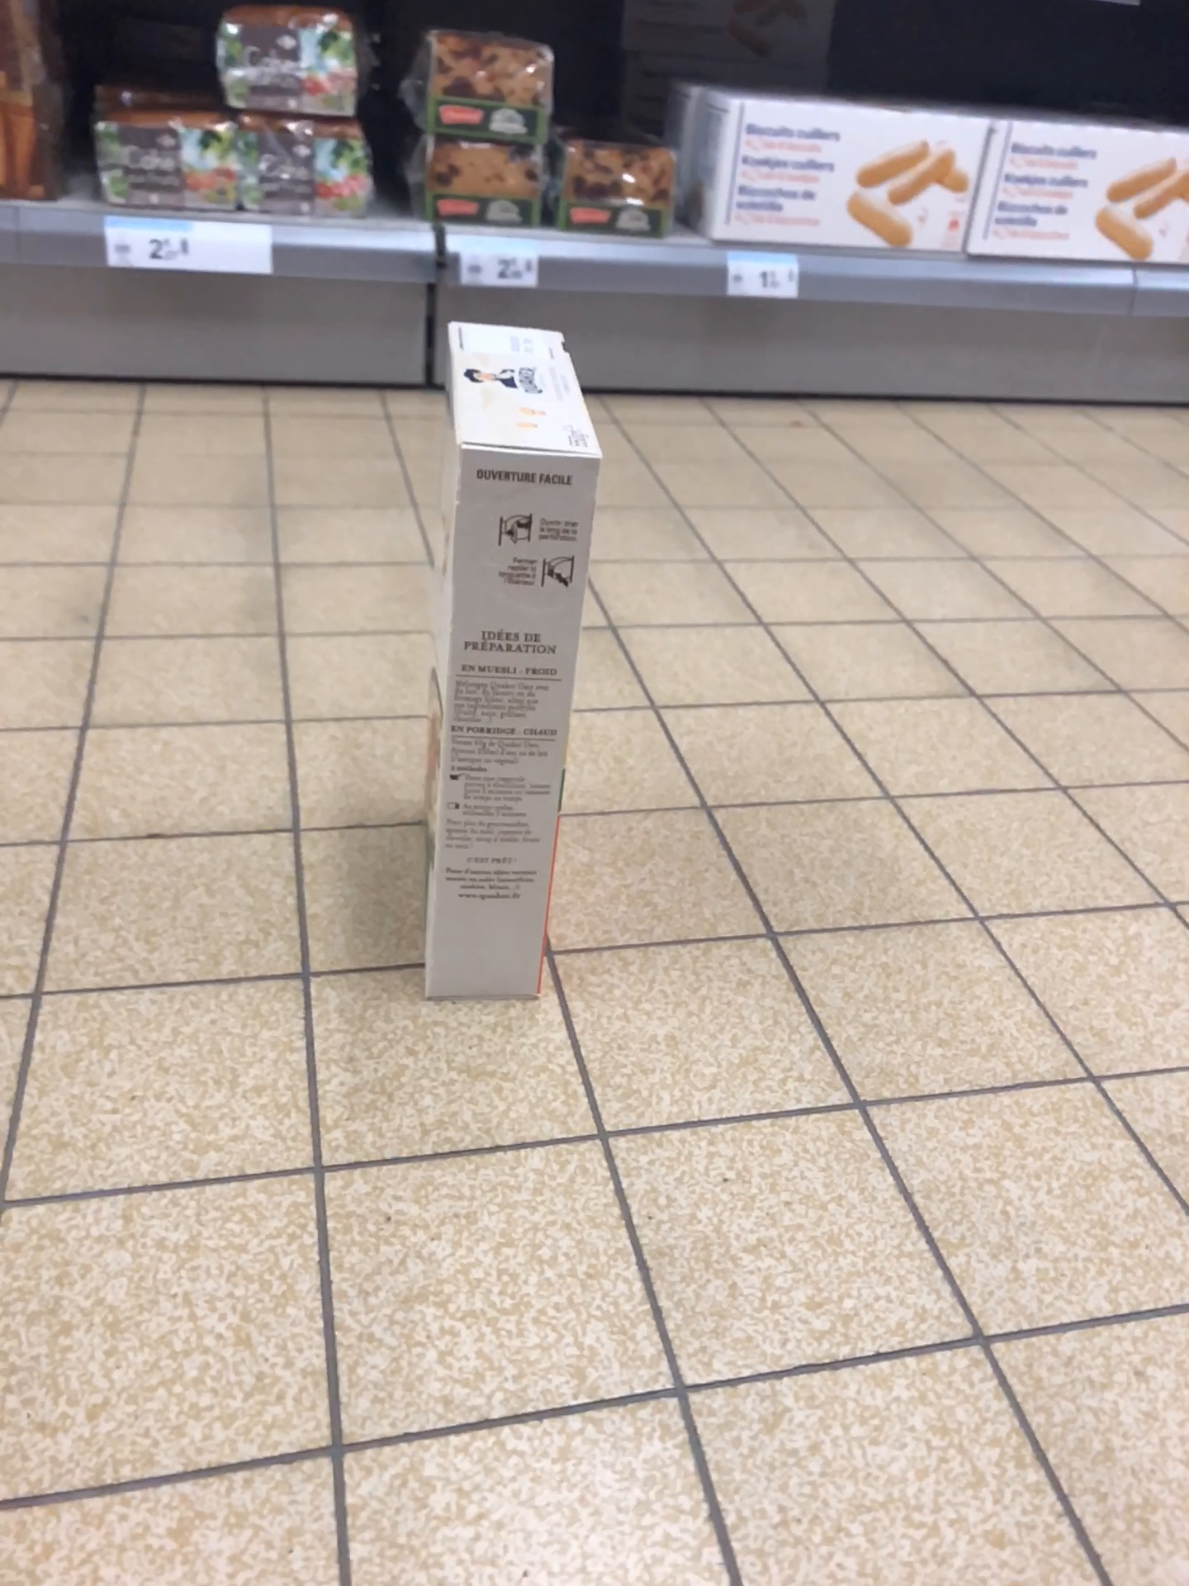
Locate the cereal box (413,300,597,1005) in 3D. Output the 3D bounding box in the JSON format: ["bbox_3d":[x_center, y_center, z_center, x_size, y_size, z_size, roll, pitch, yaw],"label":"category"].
[{"bbox_3d":[-0.042,-0.055,0.513,0.050,0.229,0.151,2,33,-7],"label":"cereal box"}]
